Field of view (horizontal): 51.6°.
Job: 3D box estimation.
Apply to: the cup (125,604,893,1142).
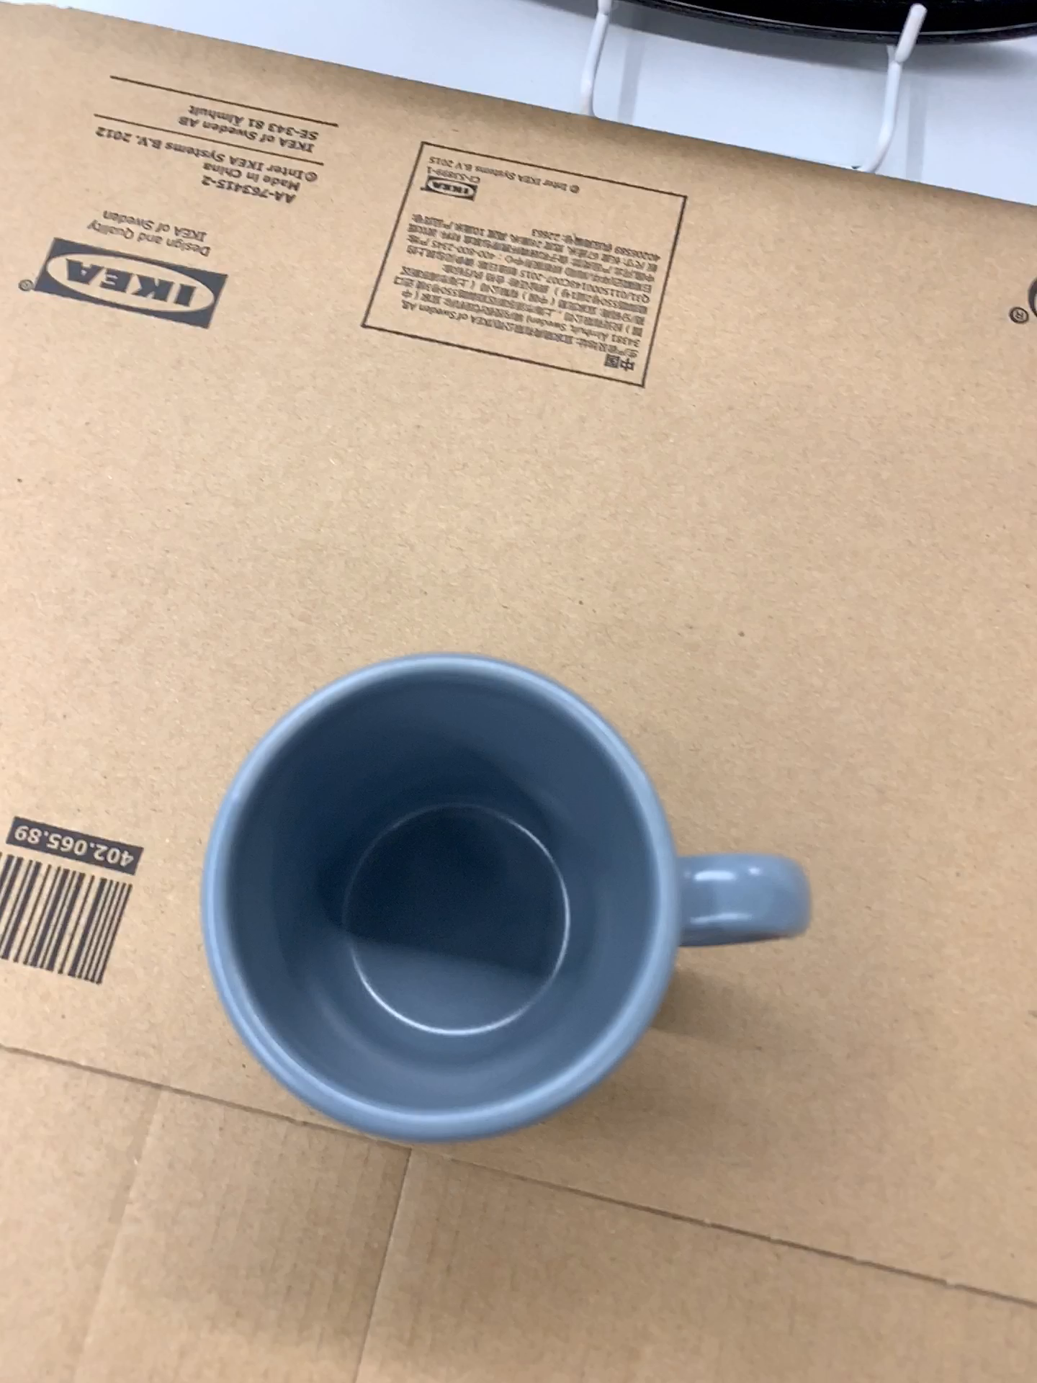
[{"bbox_3d":[-0.002,0.027,0.150,0.080,0.060,0.060,0,71,-2],"label":"cup"}]
